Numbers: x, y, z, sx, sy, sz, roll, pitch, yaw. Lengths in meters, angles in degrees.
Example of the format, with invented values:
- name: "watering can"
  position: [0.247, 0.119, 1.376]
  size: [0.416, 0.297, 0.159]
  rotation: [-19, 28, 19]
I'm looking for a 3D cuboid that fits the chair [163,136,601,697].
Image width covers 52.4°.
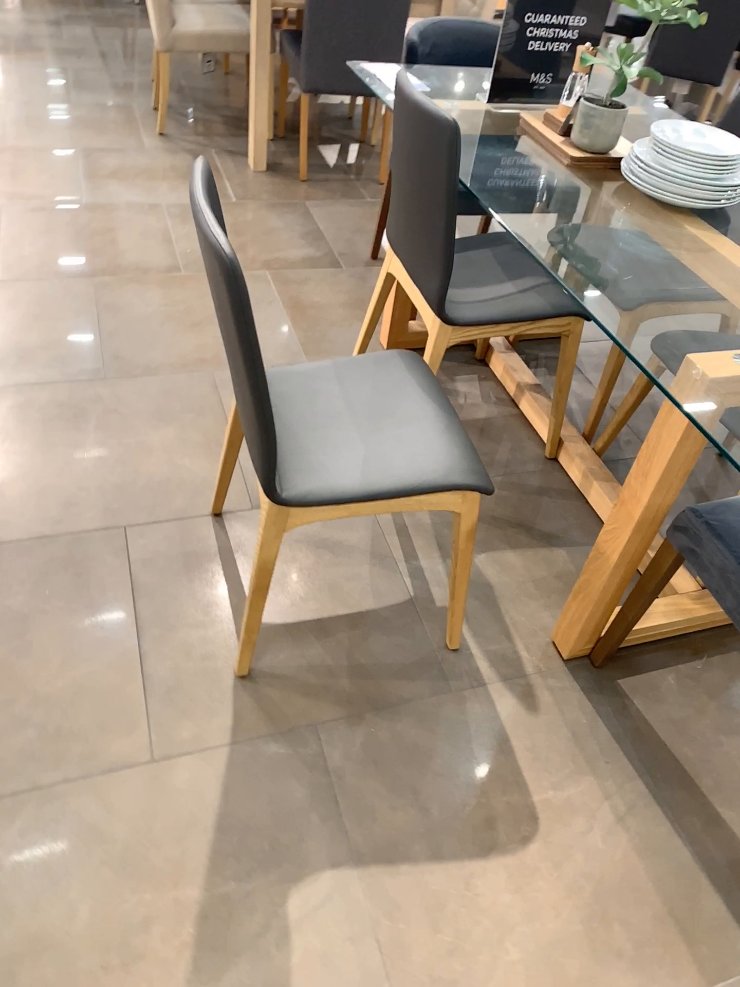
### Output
- name: "chair"
  position: [-0.067, -0.133, 1.406]
  size: [0.536, 0.813, 0.567]
  rotation: [-5, 44, -16]

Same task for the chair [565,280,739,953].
- name: "chair"
  position: [0.819, 0.190, 1.214]
  size: [0.543, 0.813, 0.591]
  rotation: [-11, 46, -21]

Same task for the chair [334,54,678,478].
- name: "chair"
  position: [0.255, -0.553, 1.894]
  size: [0.497, 0.833, 0.527]
  rotation: [-7, 45, -18]
